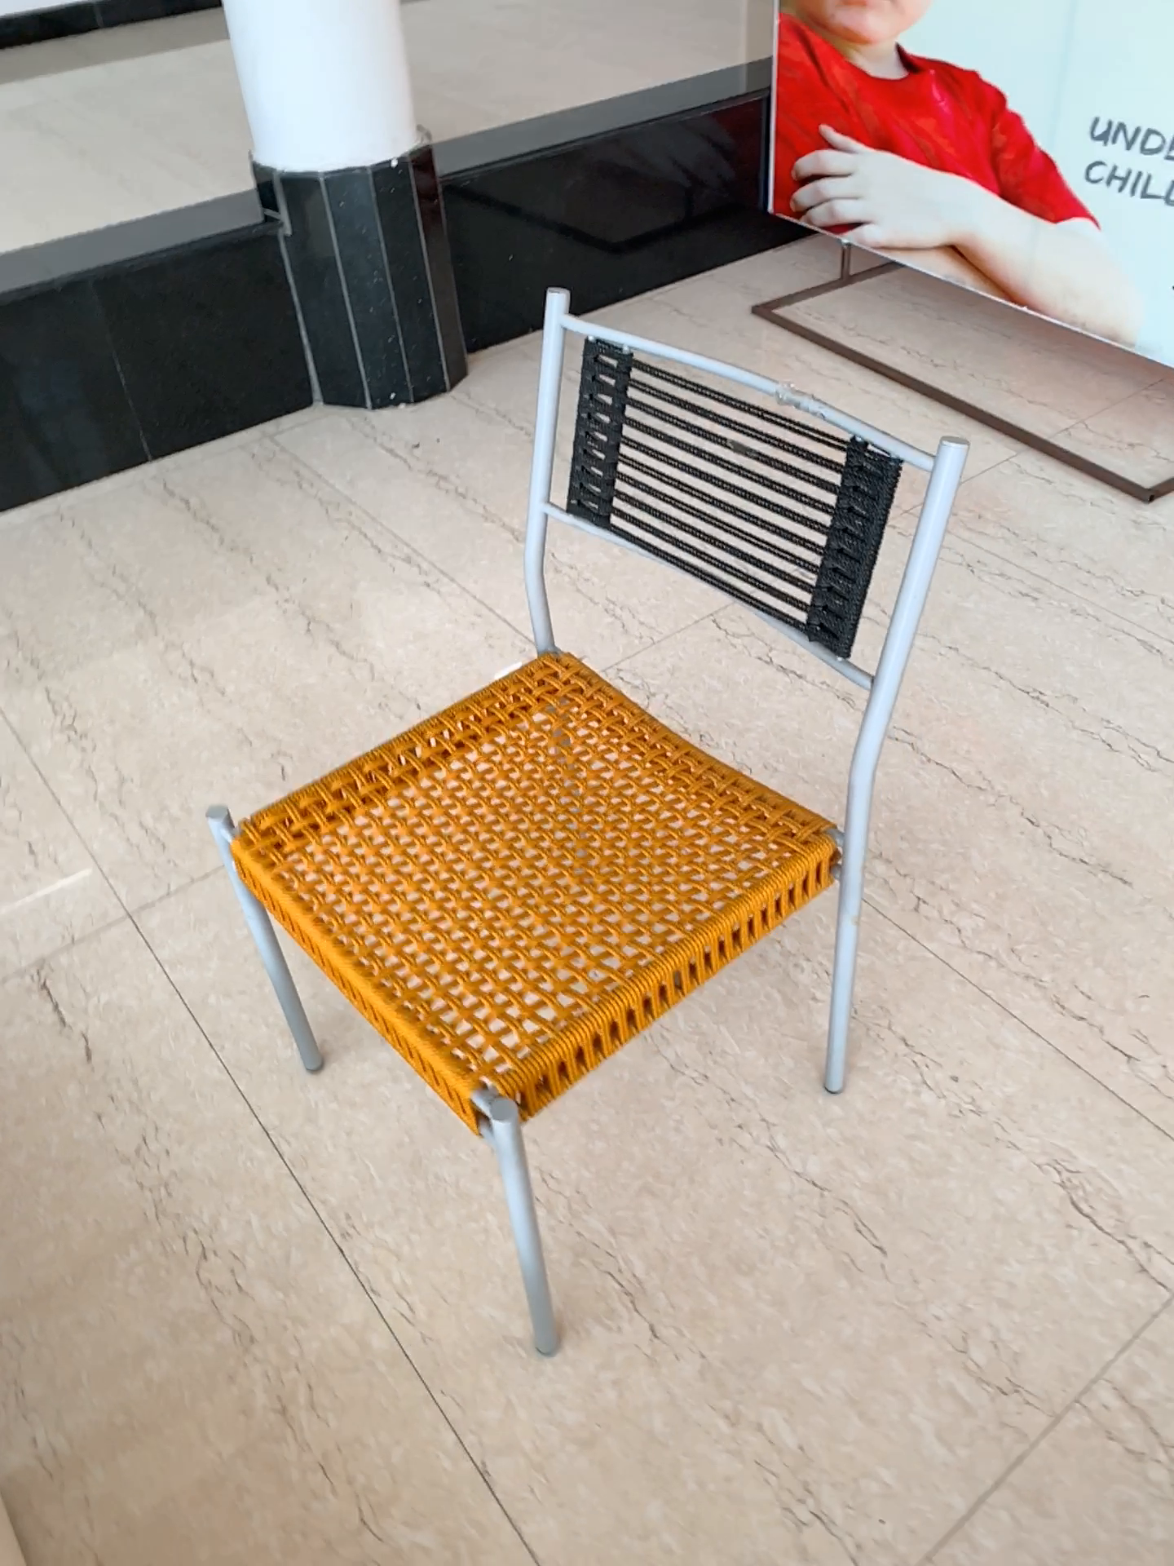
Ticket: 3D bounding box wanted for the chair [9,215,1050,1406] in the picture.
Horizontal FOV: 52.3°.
[{"bbox_3d":[-0.033,0.025,1.094,0.511,0.803,0.523,-31,48,-26],"label":"chair"}]
